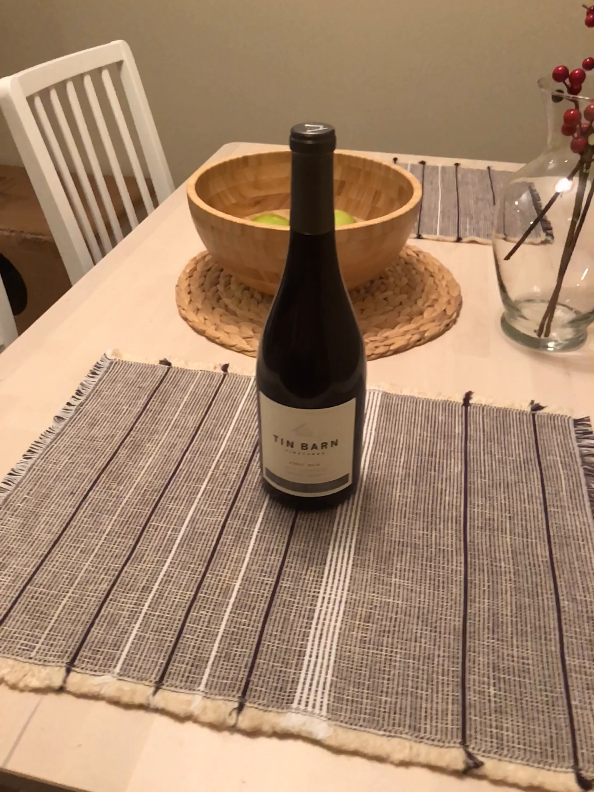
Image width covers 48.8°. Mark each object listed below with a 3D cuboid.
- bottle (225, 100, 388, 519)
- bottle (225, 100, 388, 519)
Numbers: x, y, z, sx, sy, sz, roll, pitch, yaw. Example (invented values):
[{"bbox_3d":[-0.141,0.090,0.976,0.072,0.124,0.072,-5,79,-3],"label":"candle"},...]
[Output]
[{"bbox_3d":[0.008,-0.051,0.483,0.090,0.288,0.101,4,36,4],"label":"bottle"},{"bbox_3d":[0.008,-0.051,0.483,0.090,0.288,0.101,4,36,4],"label":"bottle"}]
